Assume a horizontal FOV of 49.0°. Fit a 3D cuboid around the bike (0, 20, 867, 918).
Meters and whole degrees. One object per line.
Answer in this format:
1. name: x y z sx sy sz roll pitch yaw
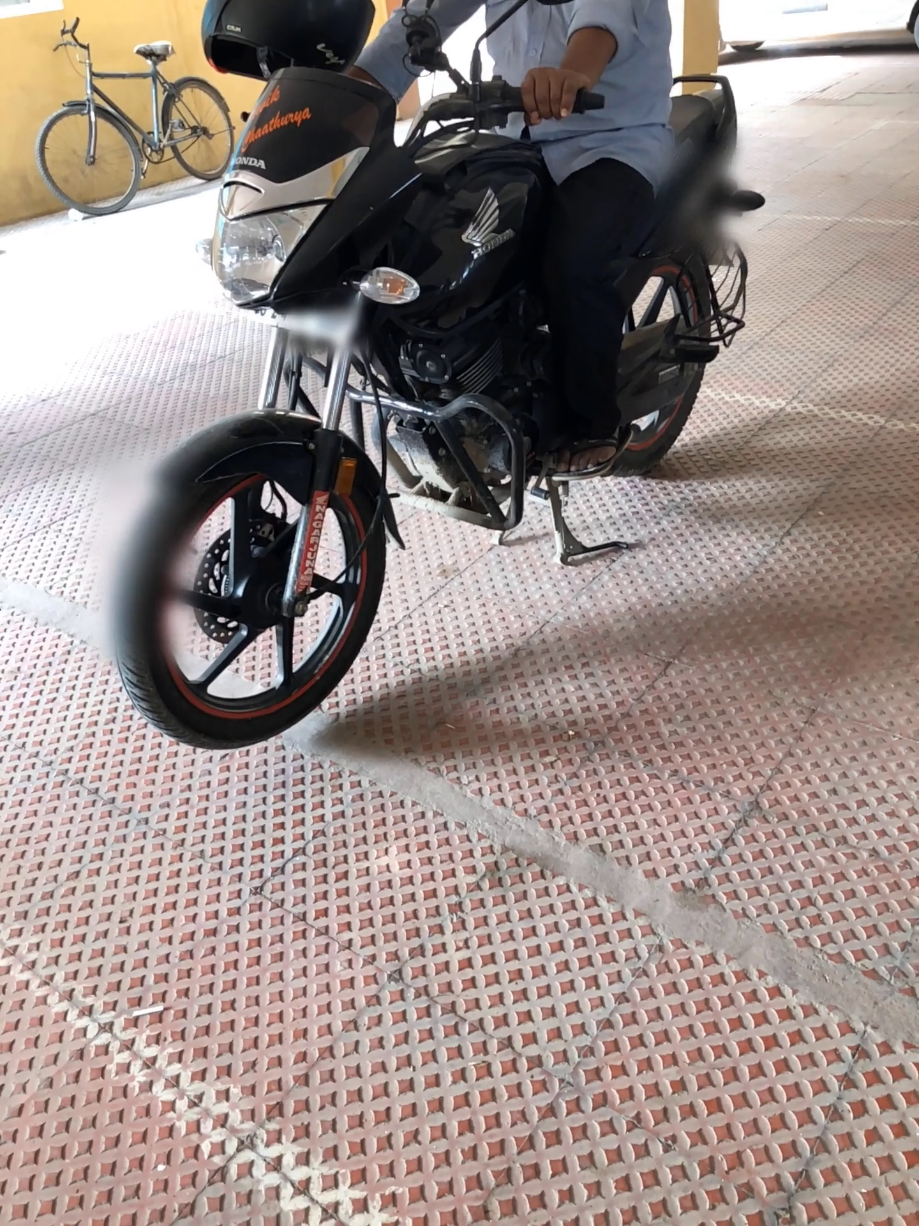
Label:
1. bike: 0.030 -0.514 2.126 0.786 1.009 1.894 21 43 35
